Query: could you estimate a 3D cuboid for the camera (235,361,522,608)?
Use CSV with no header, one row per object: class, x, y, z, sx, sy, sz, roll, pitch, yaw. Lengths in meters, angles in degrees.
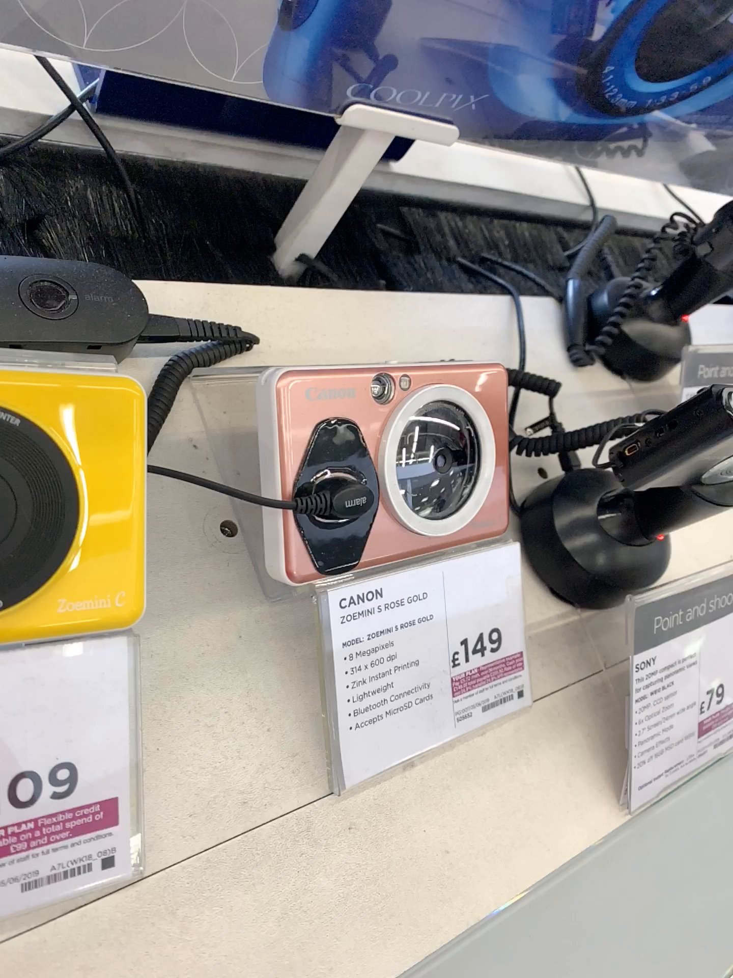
camera,0.012,-0.008,0.305,0.129,0.020,0.083,-9,100,-38
